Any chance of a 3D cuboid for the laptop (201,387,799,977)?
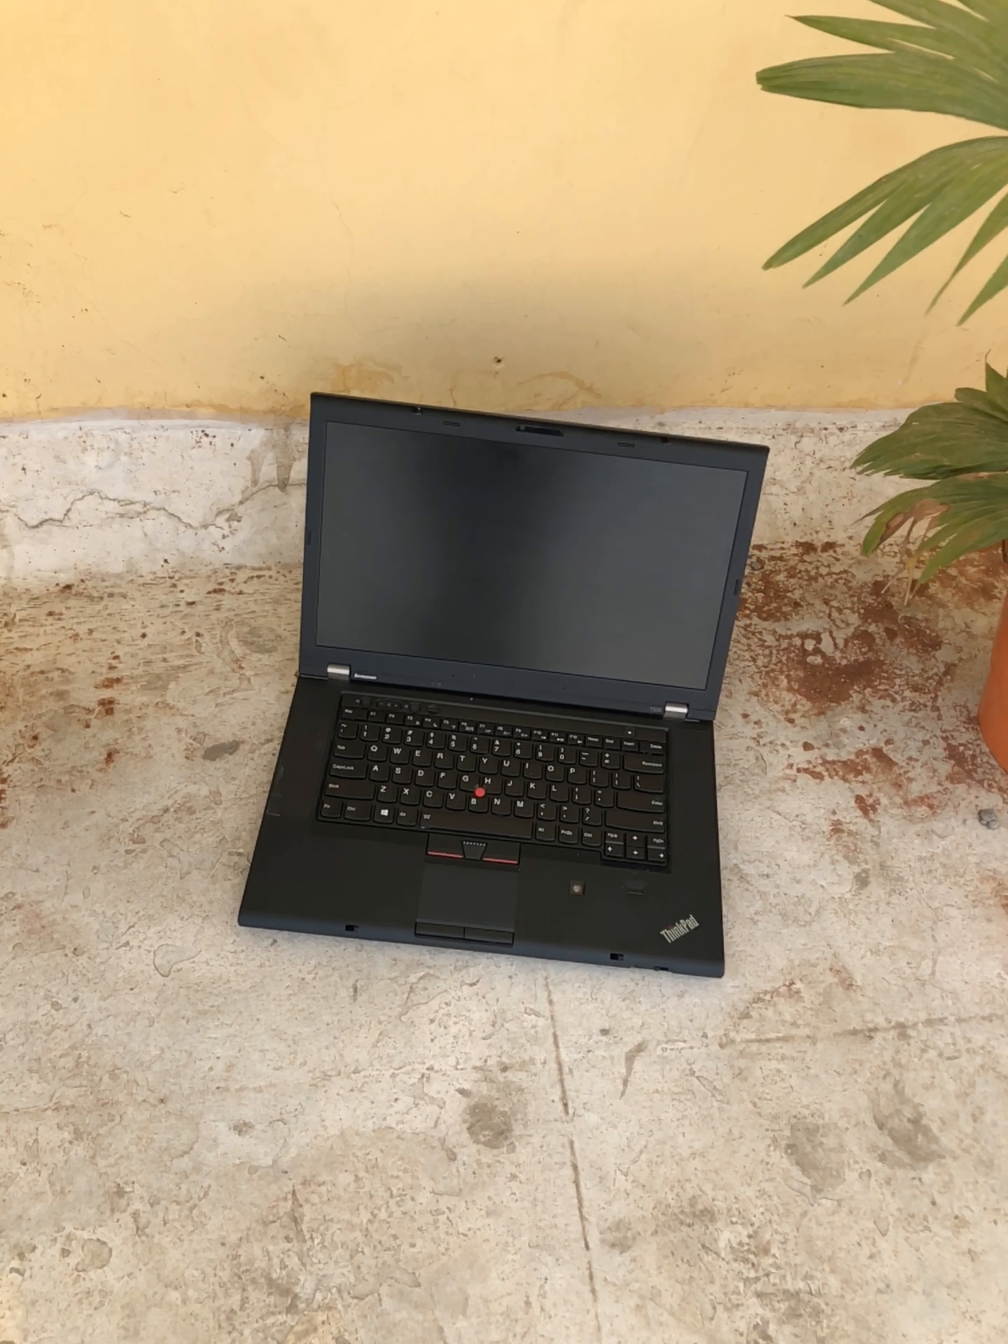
[{"bbox_3d":[0.007,0.002,0.847,0.360,0.208,0.354,6,53,0],"label":"laptop"}]
